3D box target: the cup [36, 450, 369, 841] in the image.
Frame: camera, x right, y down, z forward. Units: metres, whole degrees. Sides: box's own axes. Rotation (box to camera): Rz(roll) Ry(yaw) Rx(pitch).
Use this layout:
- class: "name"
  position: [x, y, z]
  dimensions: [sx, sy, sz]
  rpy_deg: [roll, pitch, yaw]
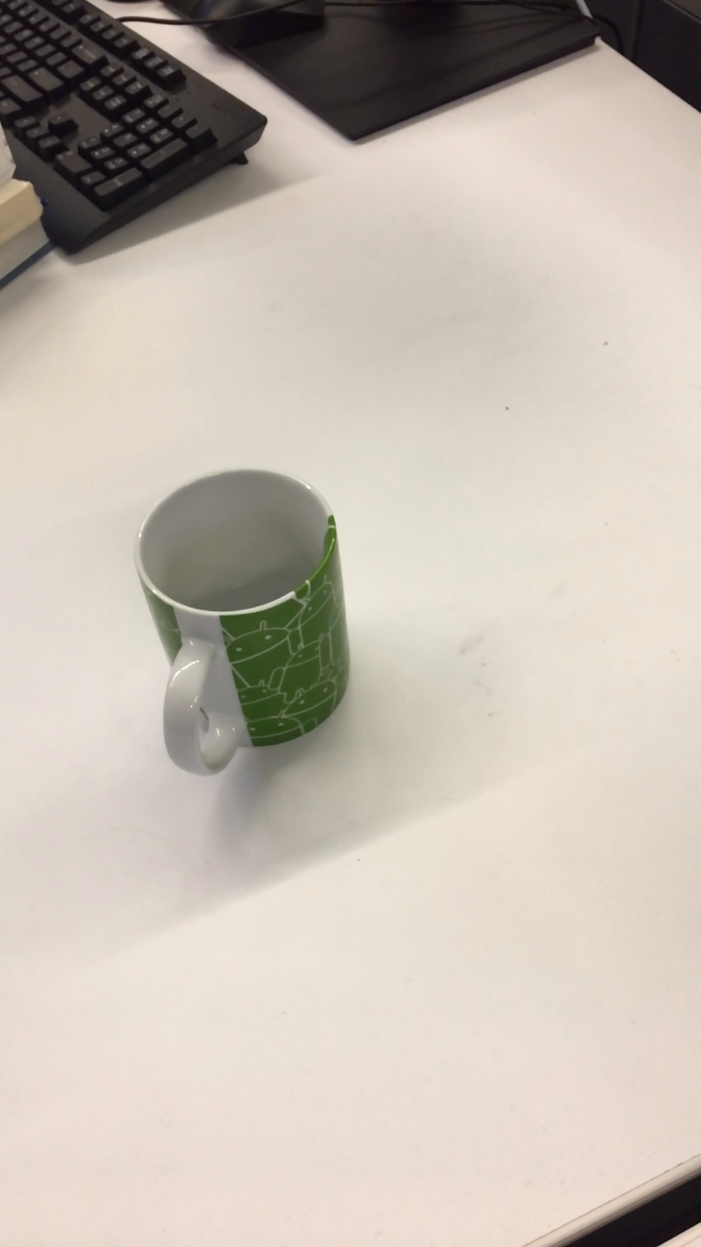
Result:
- class: "cup"
  position: [-0.051, 0.008, 0.432]
  dimensions: [0.090, 0.090, 0.120]
  rpy_deg: [8, 53, 11]
